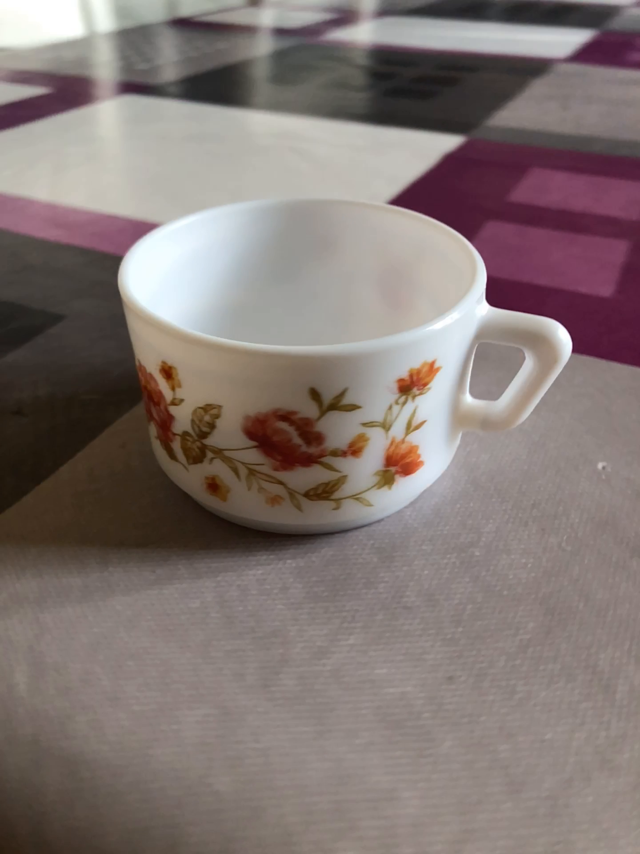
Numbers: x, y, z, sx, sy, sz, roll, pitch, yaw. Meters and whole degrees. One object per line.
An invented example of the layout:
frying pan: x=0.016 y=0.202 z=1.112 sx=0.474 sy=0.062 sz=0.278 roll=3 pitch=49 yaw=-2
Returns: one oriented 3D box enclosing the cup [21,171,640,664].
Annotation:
cup: x=0.011 y=-0.013 z=0.160 sx=0.110 sy=0.050 sz=0.081 roll=15 pitch=38 yaw=19
